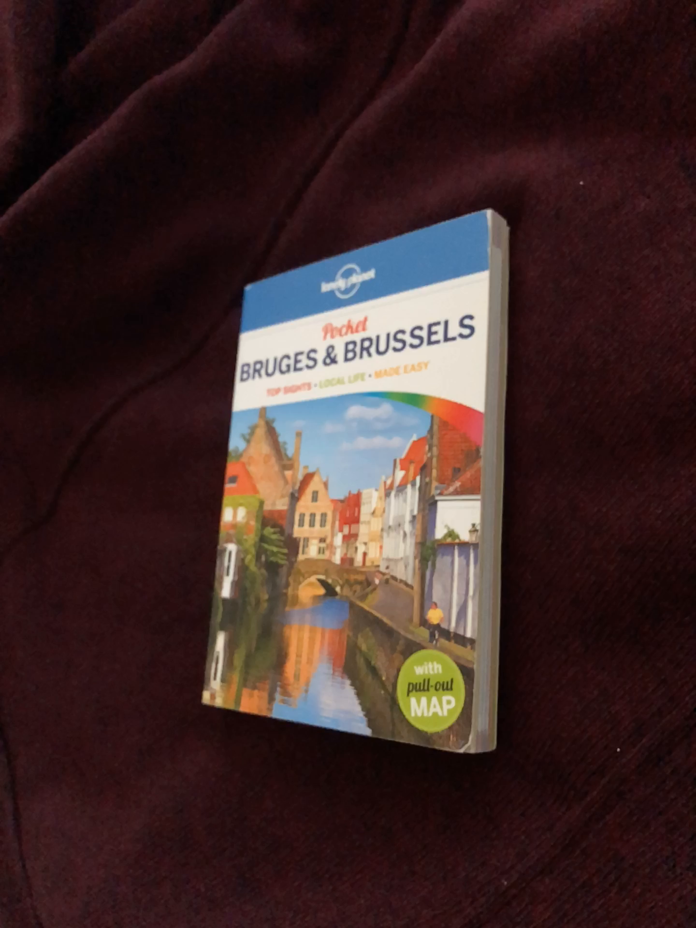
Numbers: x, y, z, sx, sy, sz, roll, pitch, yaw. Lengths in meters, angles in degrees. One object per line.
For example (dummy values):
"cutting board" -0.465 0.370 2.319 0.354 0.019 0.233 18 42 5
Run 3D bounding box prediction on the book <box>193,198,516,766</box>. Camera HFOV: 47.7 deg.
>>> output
"book" -0.001 0.005 0.257 0.111 0.016 0.158 -5 76 41
